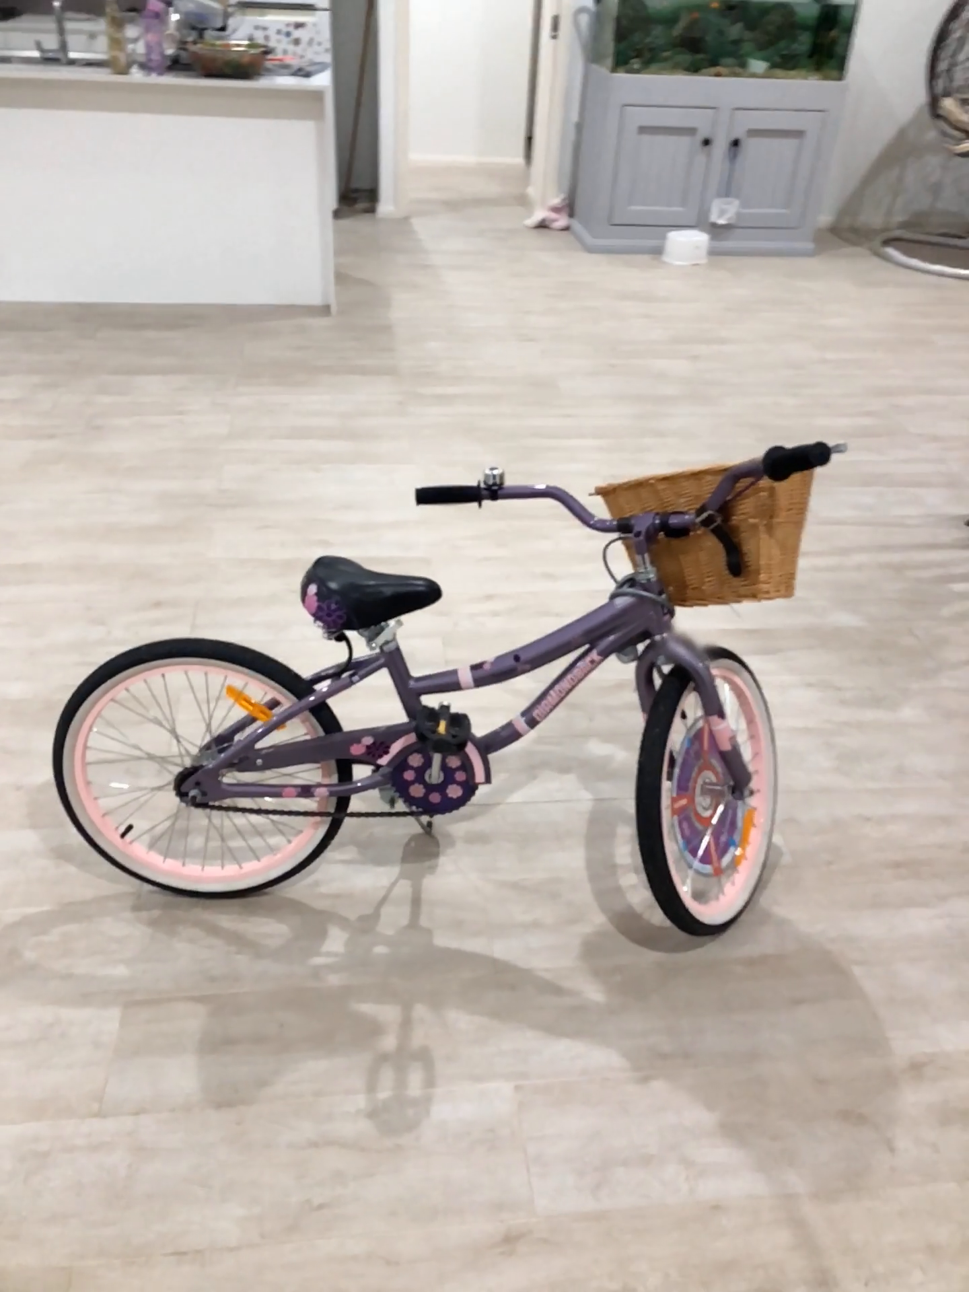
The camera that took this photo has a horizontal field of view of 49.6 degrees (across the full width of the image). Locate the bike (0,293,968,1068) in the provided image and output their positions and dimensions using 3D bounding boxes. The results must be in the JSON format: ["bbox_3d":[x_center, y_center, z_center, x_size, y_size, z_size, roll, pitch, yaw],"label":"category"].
[{"bbox_3d":[-0.061,0.053,1.704,1.214,0.877,0.751,1,34,-12],"label":"bike"}]
